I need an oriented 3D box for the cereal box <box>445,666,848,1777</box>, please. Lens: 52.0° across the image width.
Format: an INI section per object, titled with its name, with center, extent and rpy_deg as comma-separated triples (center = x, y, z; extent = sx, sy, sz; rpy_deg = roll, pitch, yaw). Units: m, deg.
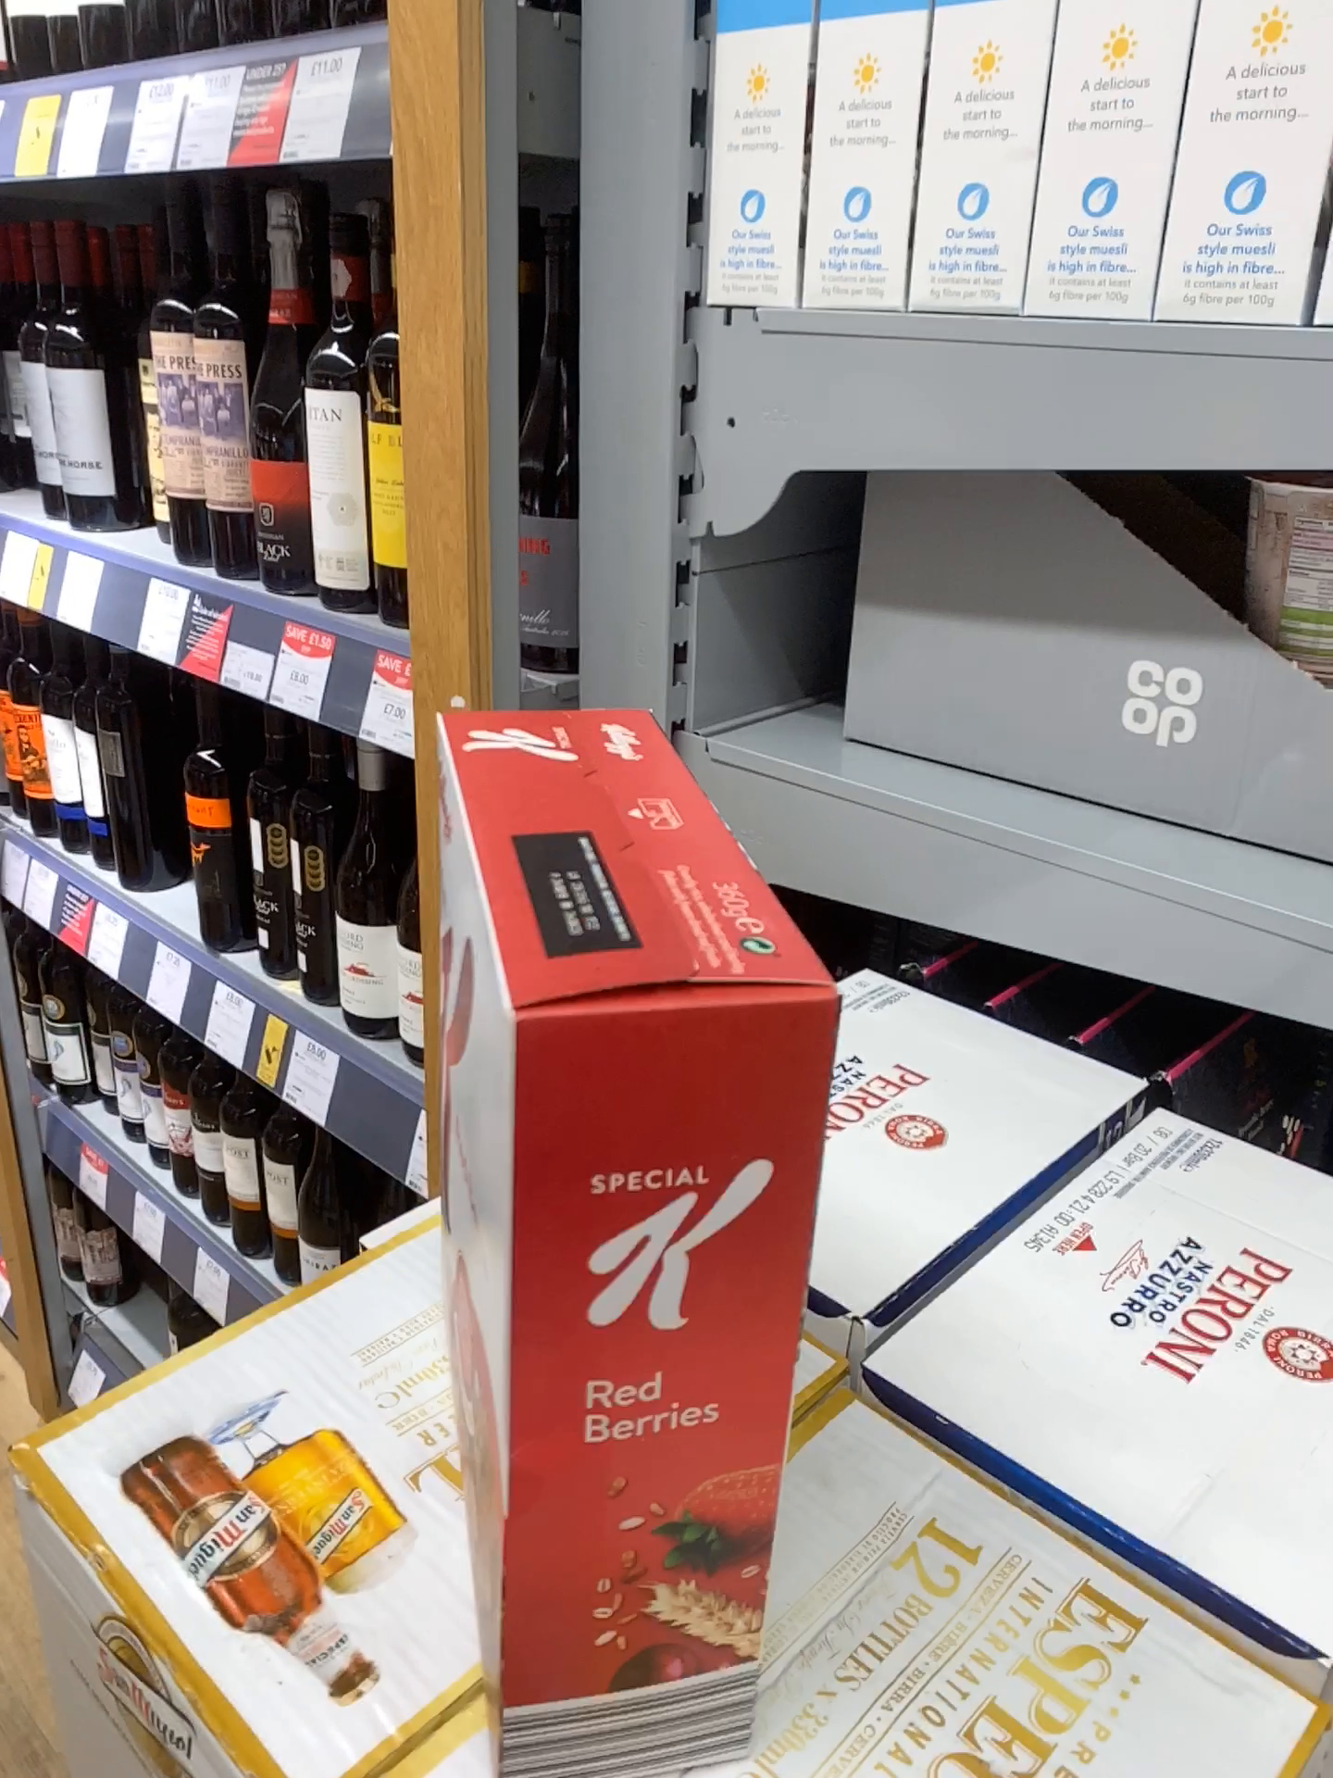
[cereal box]
center = -0.025, 0.079, 0.393
extent = 0.070, 0.238, 0.202
rpy_deg = -1, 23, -11
